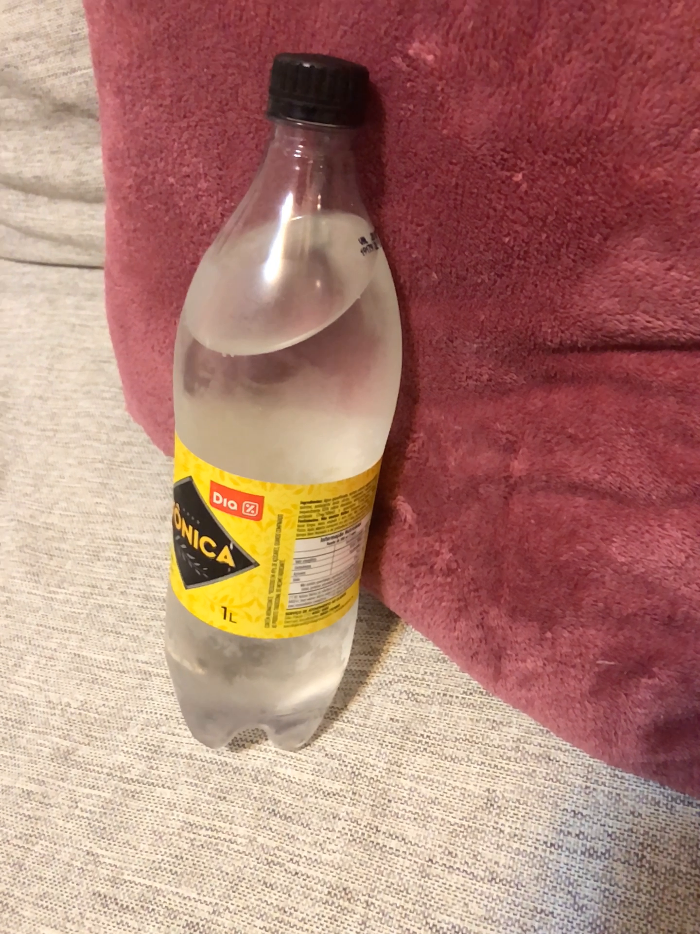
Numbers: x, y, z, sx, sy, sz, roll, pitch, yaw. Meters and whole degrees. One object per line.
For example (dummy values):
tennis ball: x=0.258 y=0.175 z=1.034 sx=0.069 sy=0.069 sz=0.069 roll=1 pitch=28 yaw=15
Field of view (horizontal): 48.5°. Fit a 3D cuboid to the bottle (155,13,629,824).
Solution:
bottle: x=-0.003 y=-0.010 z=0.300 sx=0.100 sy=0.269 sz=0.100 roll=7 pitch=30 yaw=-4
